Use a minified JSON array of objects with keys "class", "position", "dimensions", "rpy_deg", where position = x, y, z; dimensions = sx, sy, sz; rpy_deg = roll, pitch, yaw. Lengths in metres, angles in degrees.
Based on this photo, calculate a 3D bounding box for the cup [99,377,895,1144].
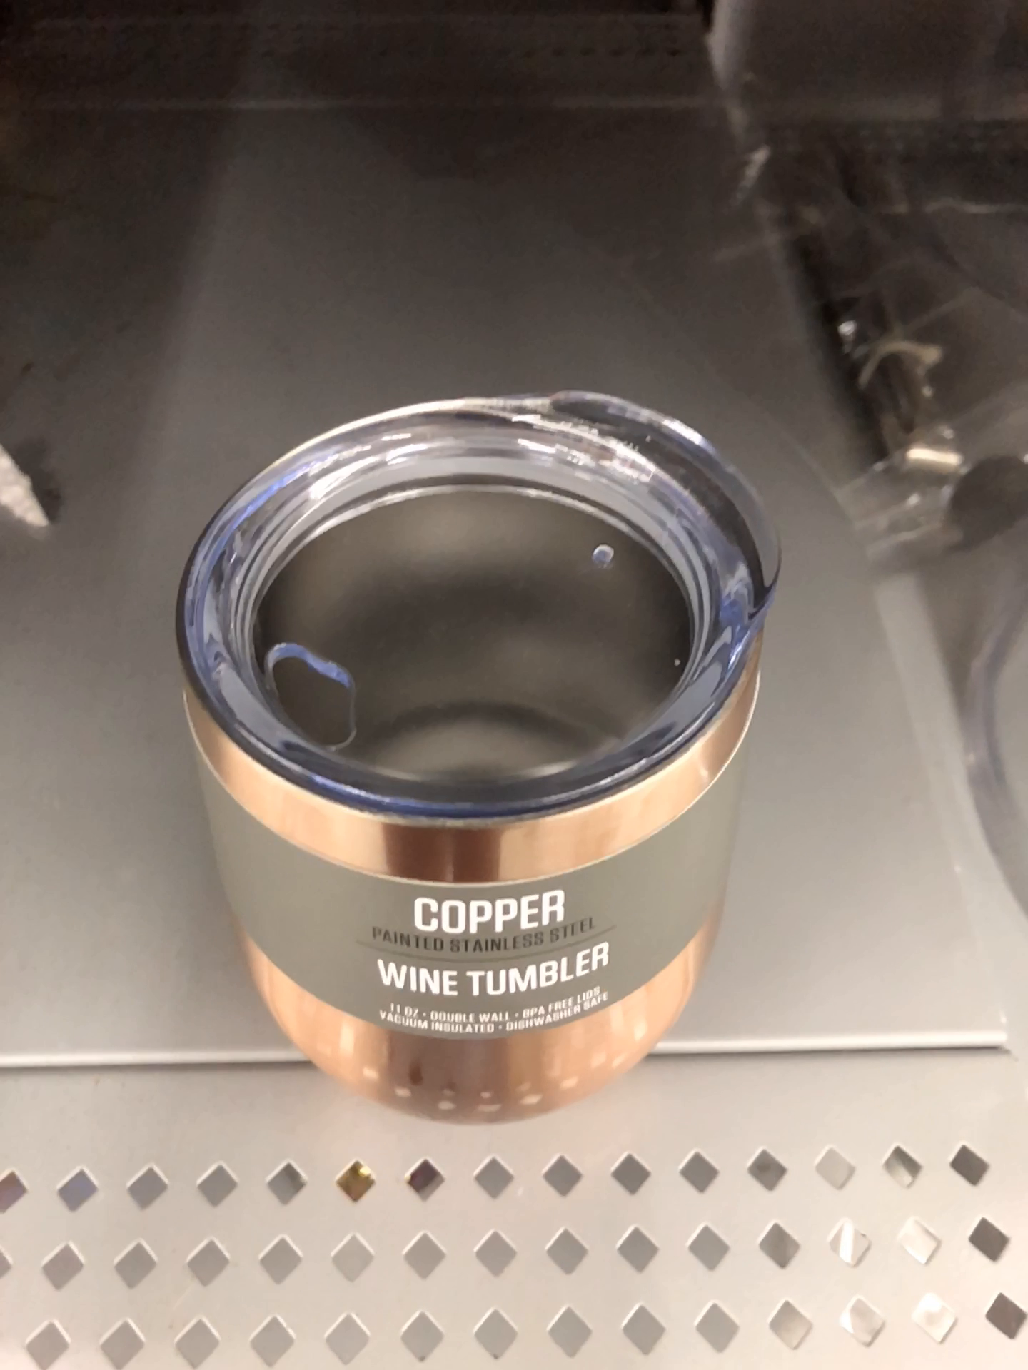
[{"class":"cup","position":[-0.005,0.021,0.197],"dimensions":[0.088,0.121,0.068],"rpy_deg":[-4,53,-4]}]
